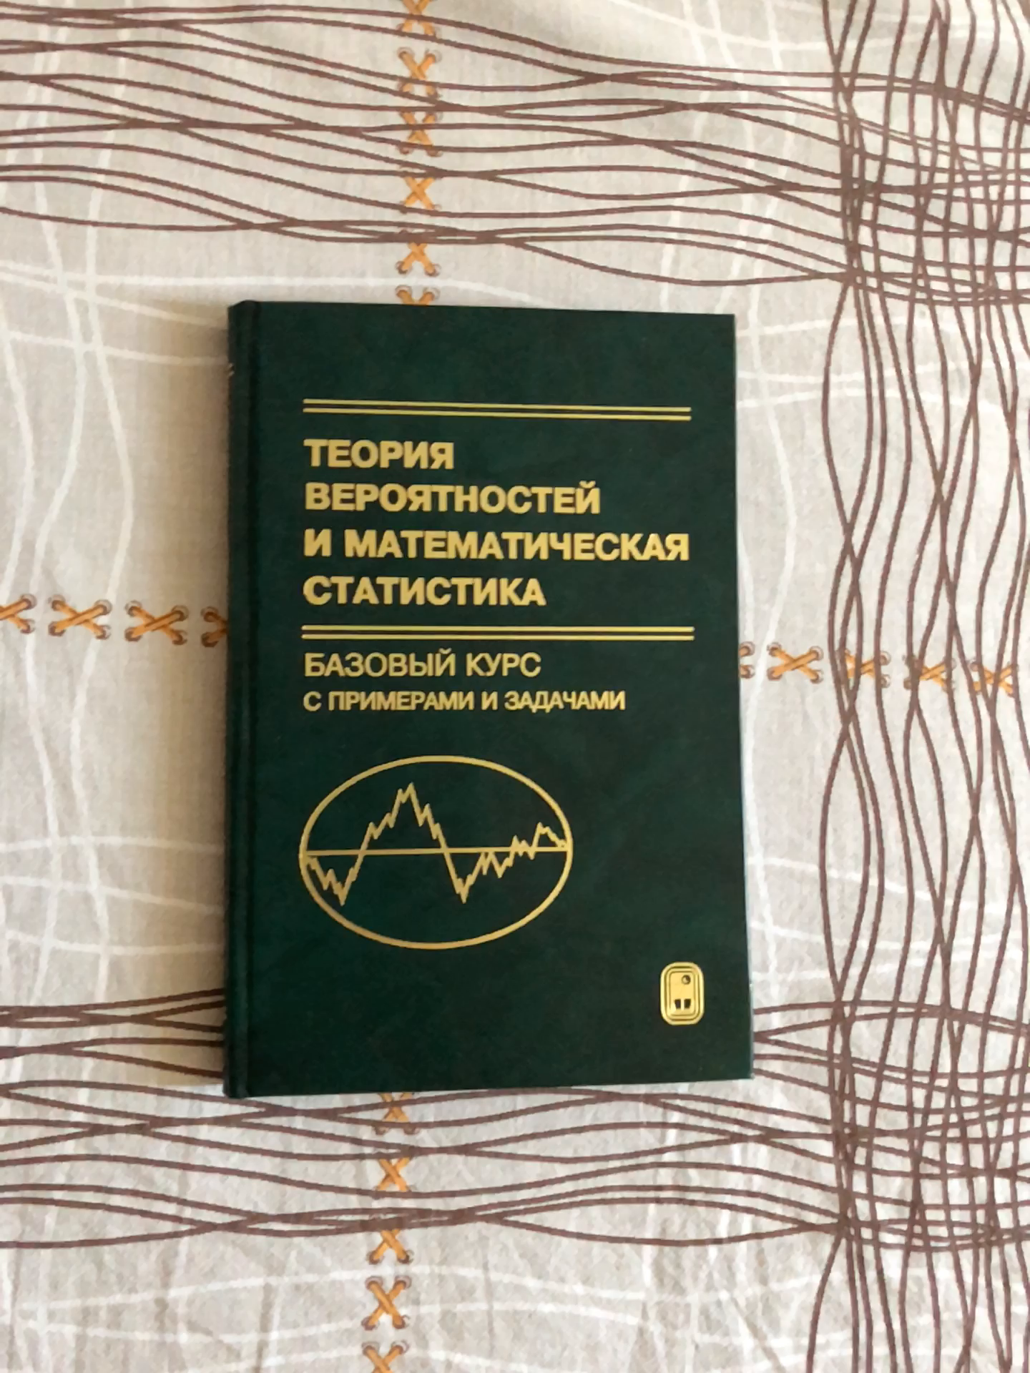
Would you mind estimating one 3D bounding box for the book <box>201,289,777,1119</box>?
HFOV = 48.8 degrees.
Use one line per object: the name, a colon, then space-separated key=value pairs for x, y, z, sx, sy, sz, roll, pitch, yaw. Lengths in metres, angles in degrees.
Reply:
book: x=-0.007 y=0.003 z=0.318 sx=0.150 sy=0.030 sz=0.217 roll=0 pitch=86 yaw=-5
